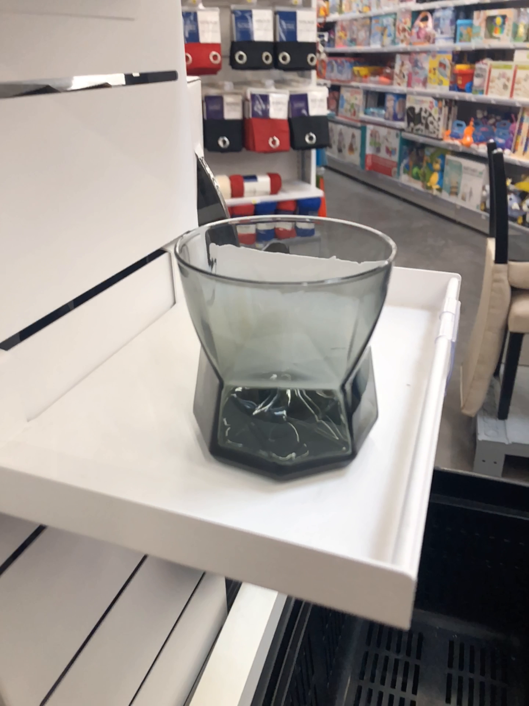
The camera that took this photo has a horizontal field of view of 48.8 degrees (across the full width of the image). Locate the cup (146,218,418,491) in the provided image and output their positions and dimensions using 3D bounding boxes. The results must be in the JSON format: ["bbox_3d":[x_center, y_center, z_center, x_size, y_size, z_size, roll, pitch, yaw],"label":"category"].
[{"bbox_3d":[0.004,-0.006,0.248,0.088,0.080,0.094,0,26,0],"label":"cup"}]
